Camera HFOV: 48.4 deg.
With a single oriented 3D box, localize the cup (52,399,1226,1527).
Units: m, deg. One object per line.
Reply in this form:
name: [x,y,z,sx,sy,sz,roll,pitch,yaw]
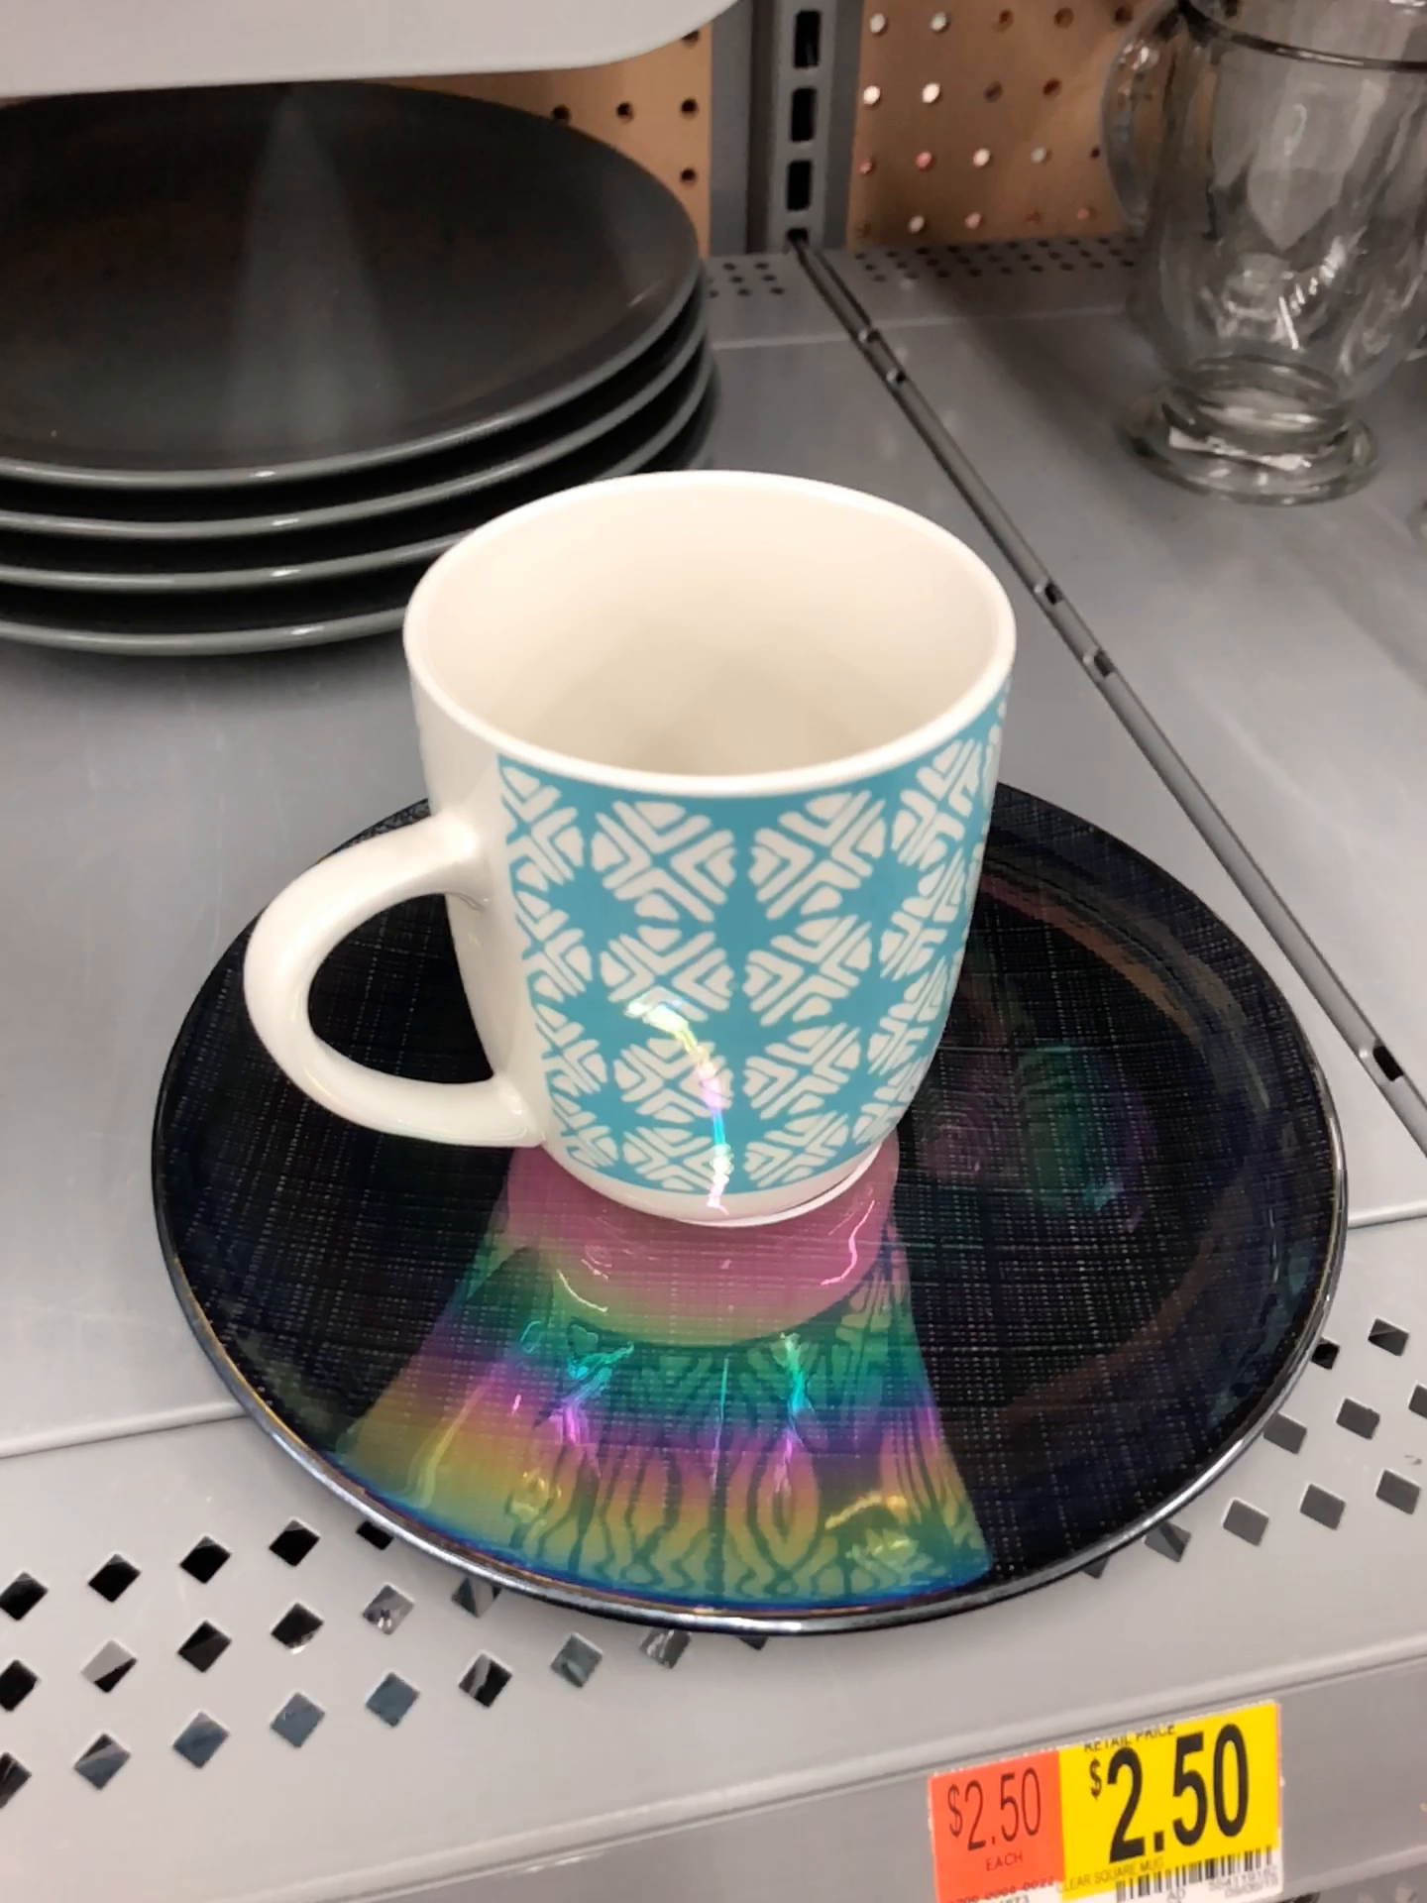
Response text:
cup: [-0.011,-0.005,0.238,0.122,0.098,0.089,-25,49,-25]
